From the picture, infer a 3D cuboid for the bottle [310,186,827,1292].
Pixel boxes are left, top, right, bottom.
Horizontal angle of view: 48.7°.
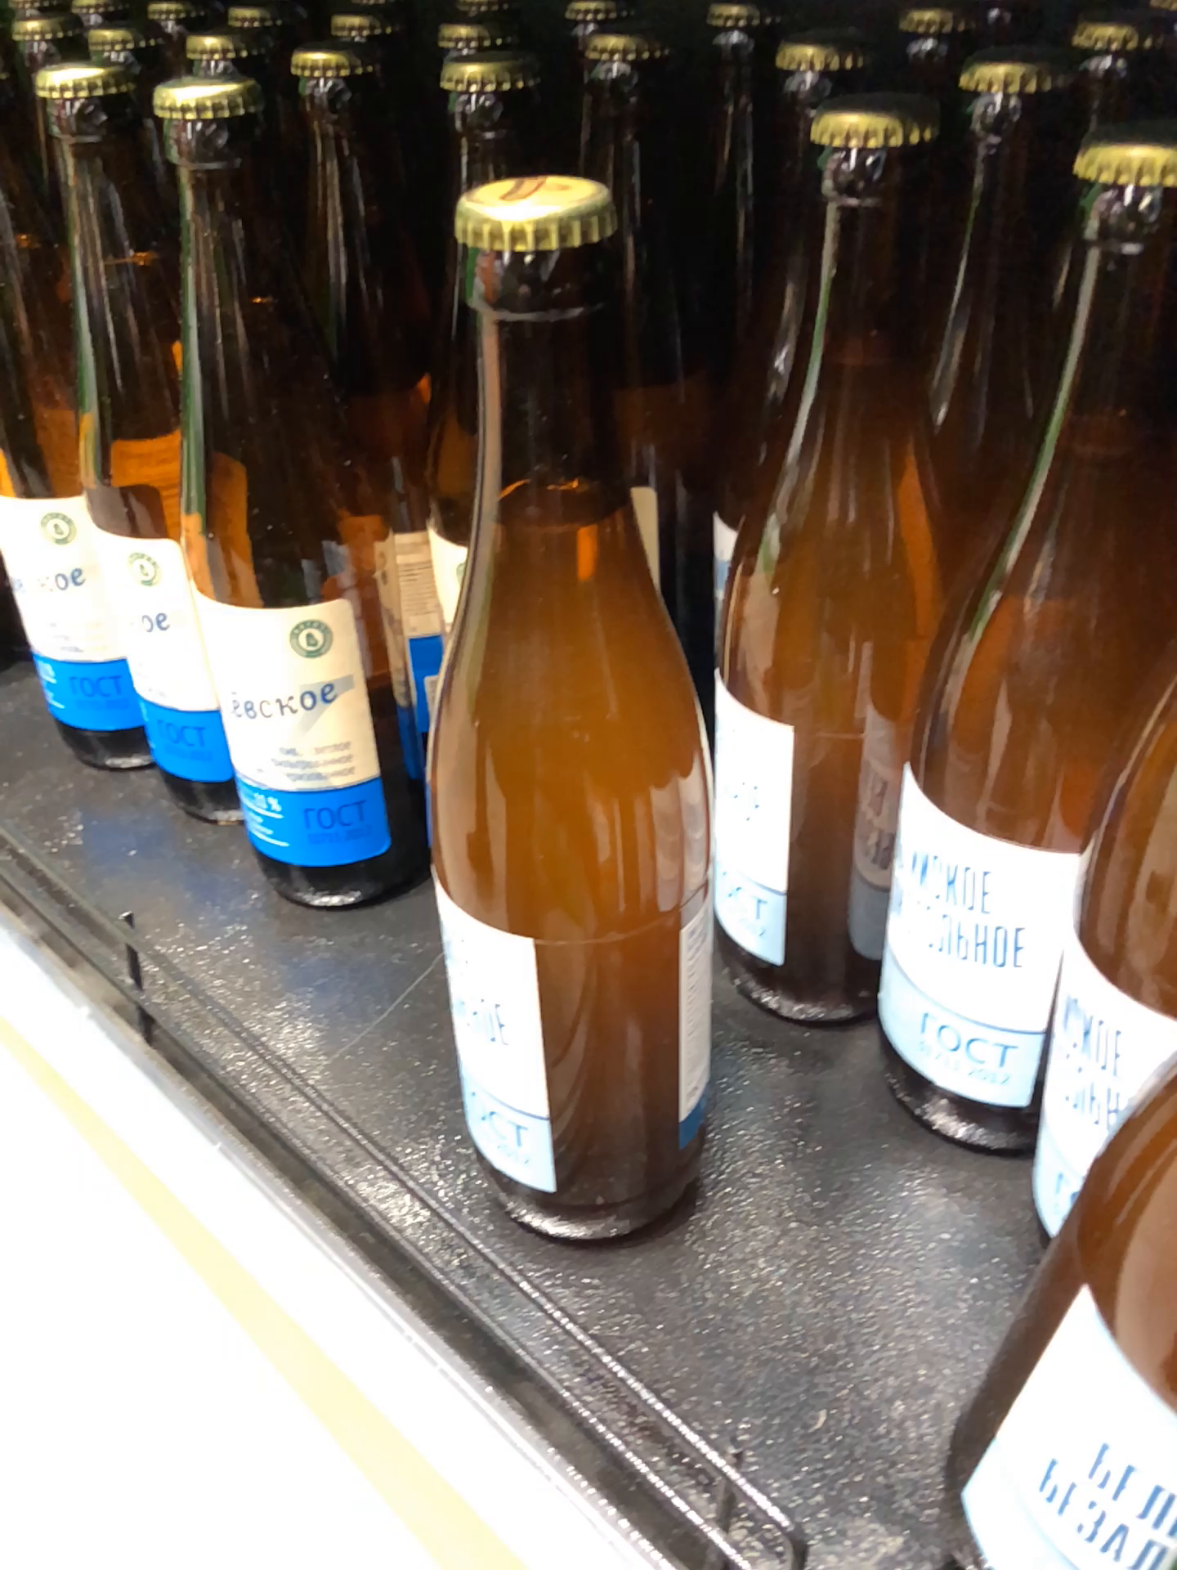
[{"bbox_3d":[0.000,0.006,0.307,0.080,0.254,0.080,-2,35,1],"label":"bottle"}]
